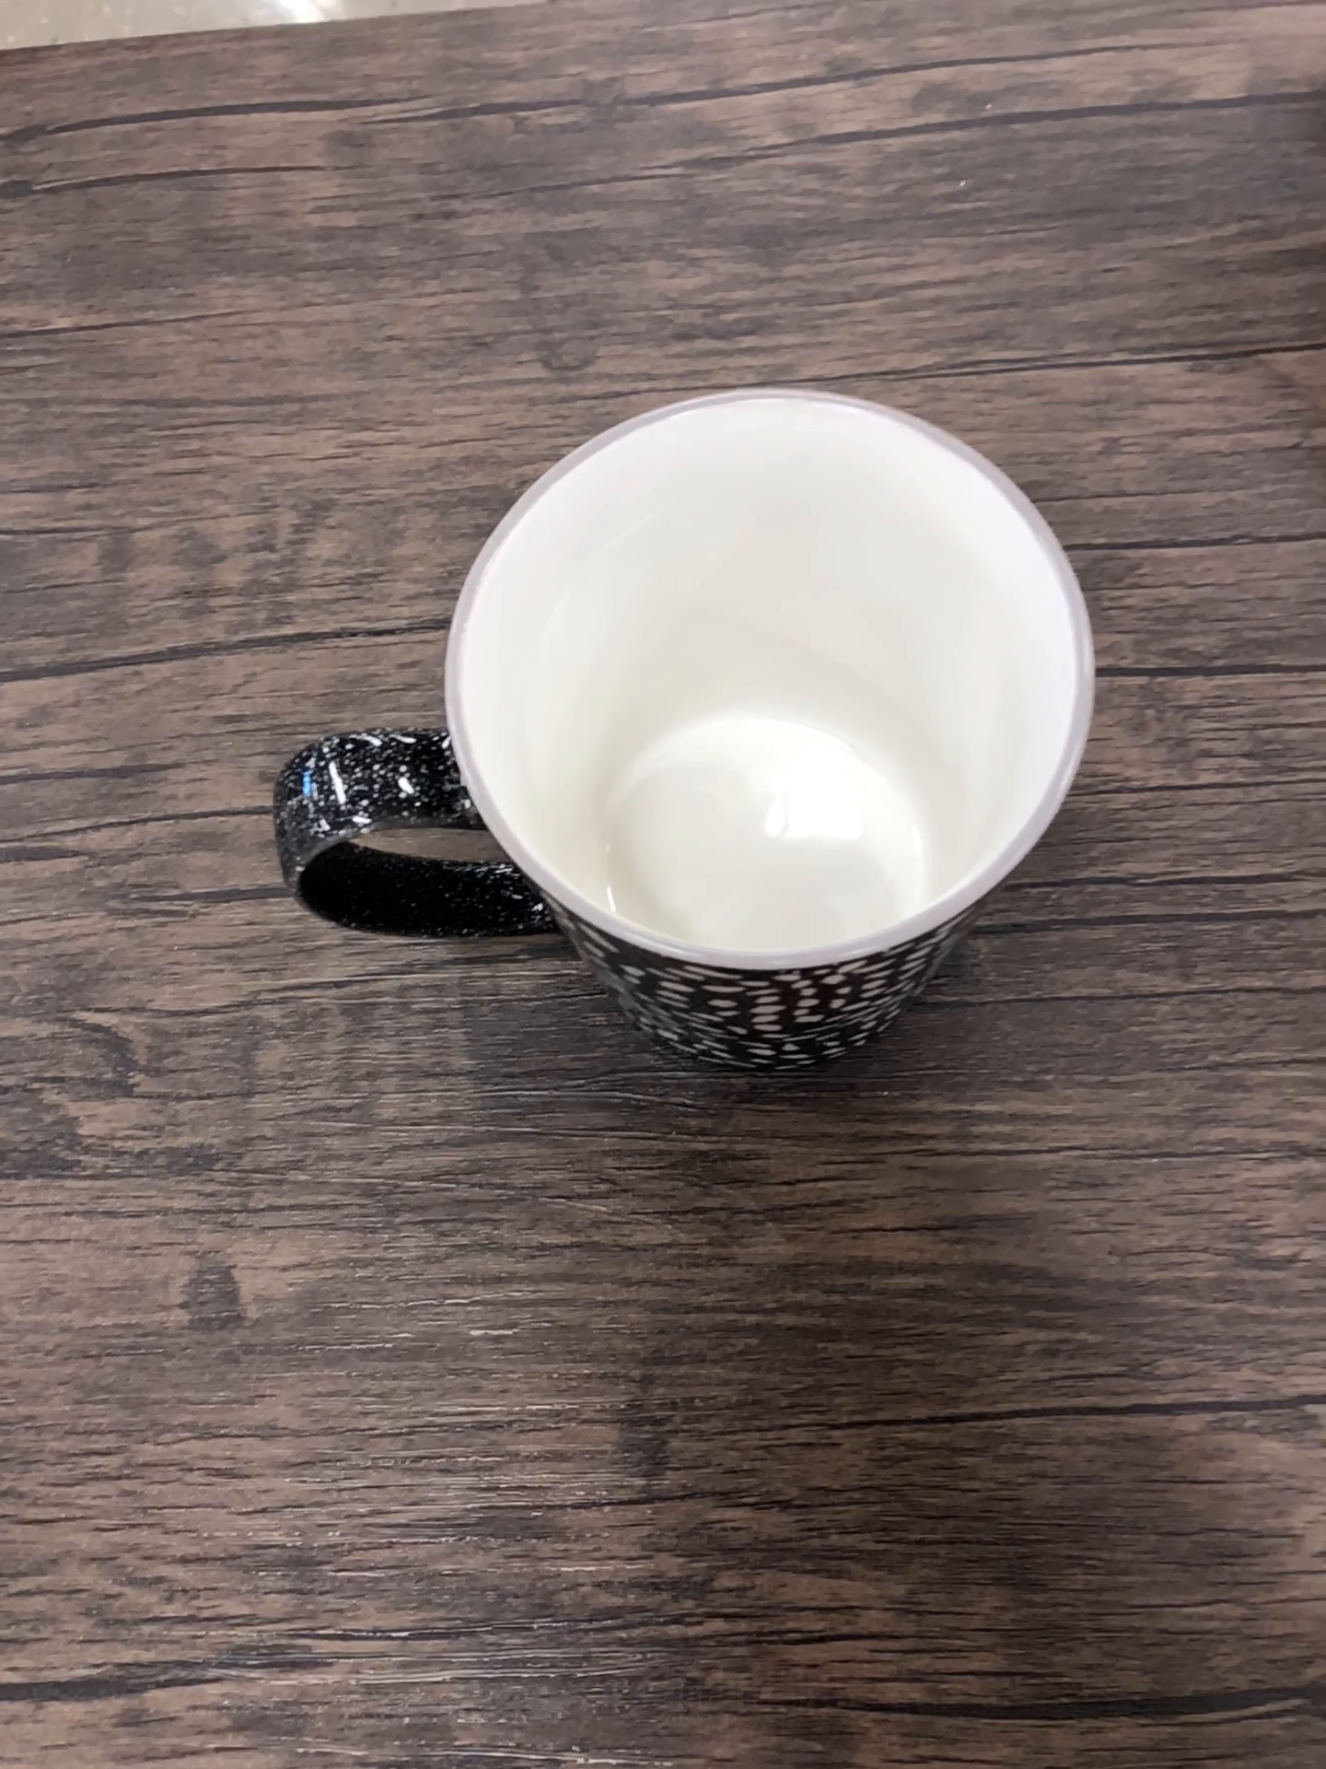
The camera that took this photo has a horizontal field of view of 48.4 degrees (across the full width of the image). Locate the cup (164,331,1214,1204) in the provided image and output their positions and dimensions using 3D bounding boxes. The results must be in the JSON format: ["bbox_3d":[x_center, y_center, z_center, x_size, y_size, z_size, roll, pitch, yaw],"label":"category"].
[{"bbox_3d":[0.001,-0.012,0.265,0.140,0.100,0.100,-11,69,0],"label":"cup"}]
